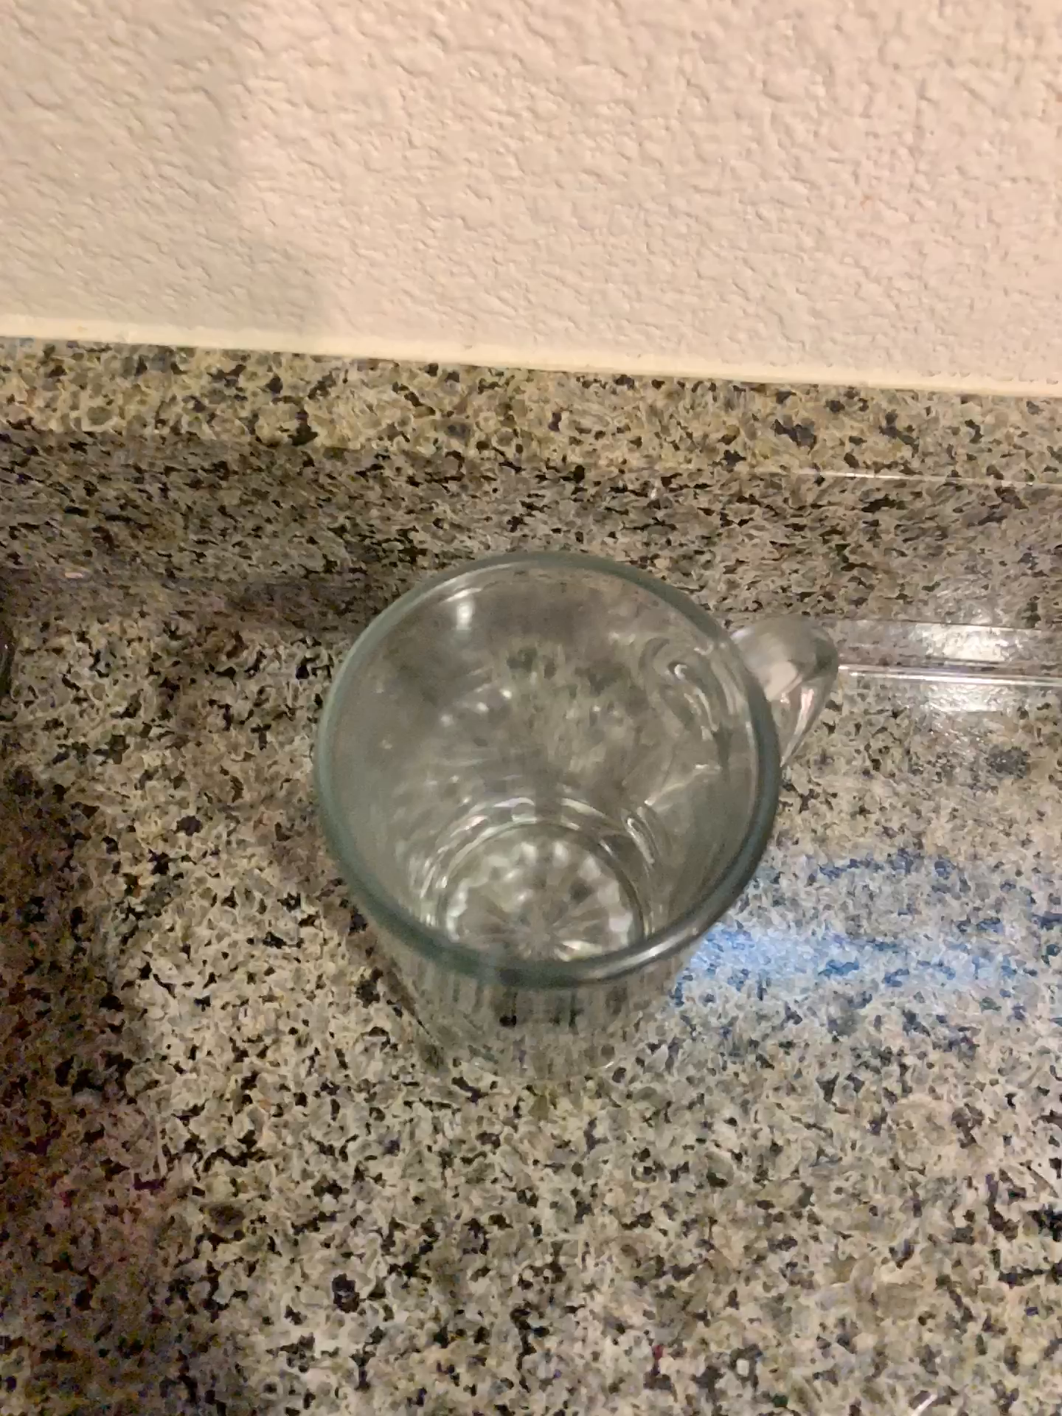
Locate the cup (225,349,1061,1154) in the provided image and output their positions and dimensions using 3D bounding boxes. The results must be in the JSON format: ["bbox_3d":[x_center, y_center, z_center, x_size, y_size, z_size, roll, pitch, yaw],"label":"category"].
[{"bbox_3d":[0.021,0.026,0.254,0.120,0.159,0.080,-34,70,-15],"label":"cup"}]
